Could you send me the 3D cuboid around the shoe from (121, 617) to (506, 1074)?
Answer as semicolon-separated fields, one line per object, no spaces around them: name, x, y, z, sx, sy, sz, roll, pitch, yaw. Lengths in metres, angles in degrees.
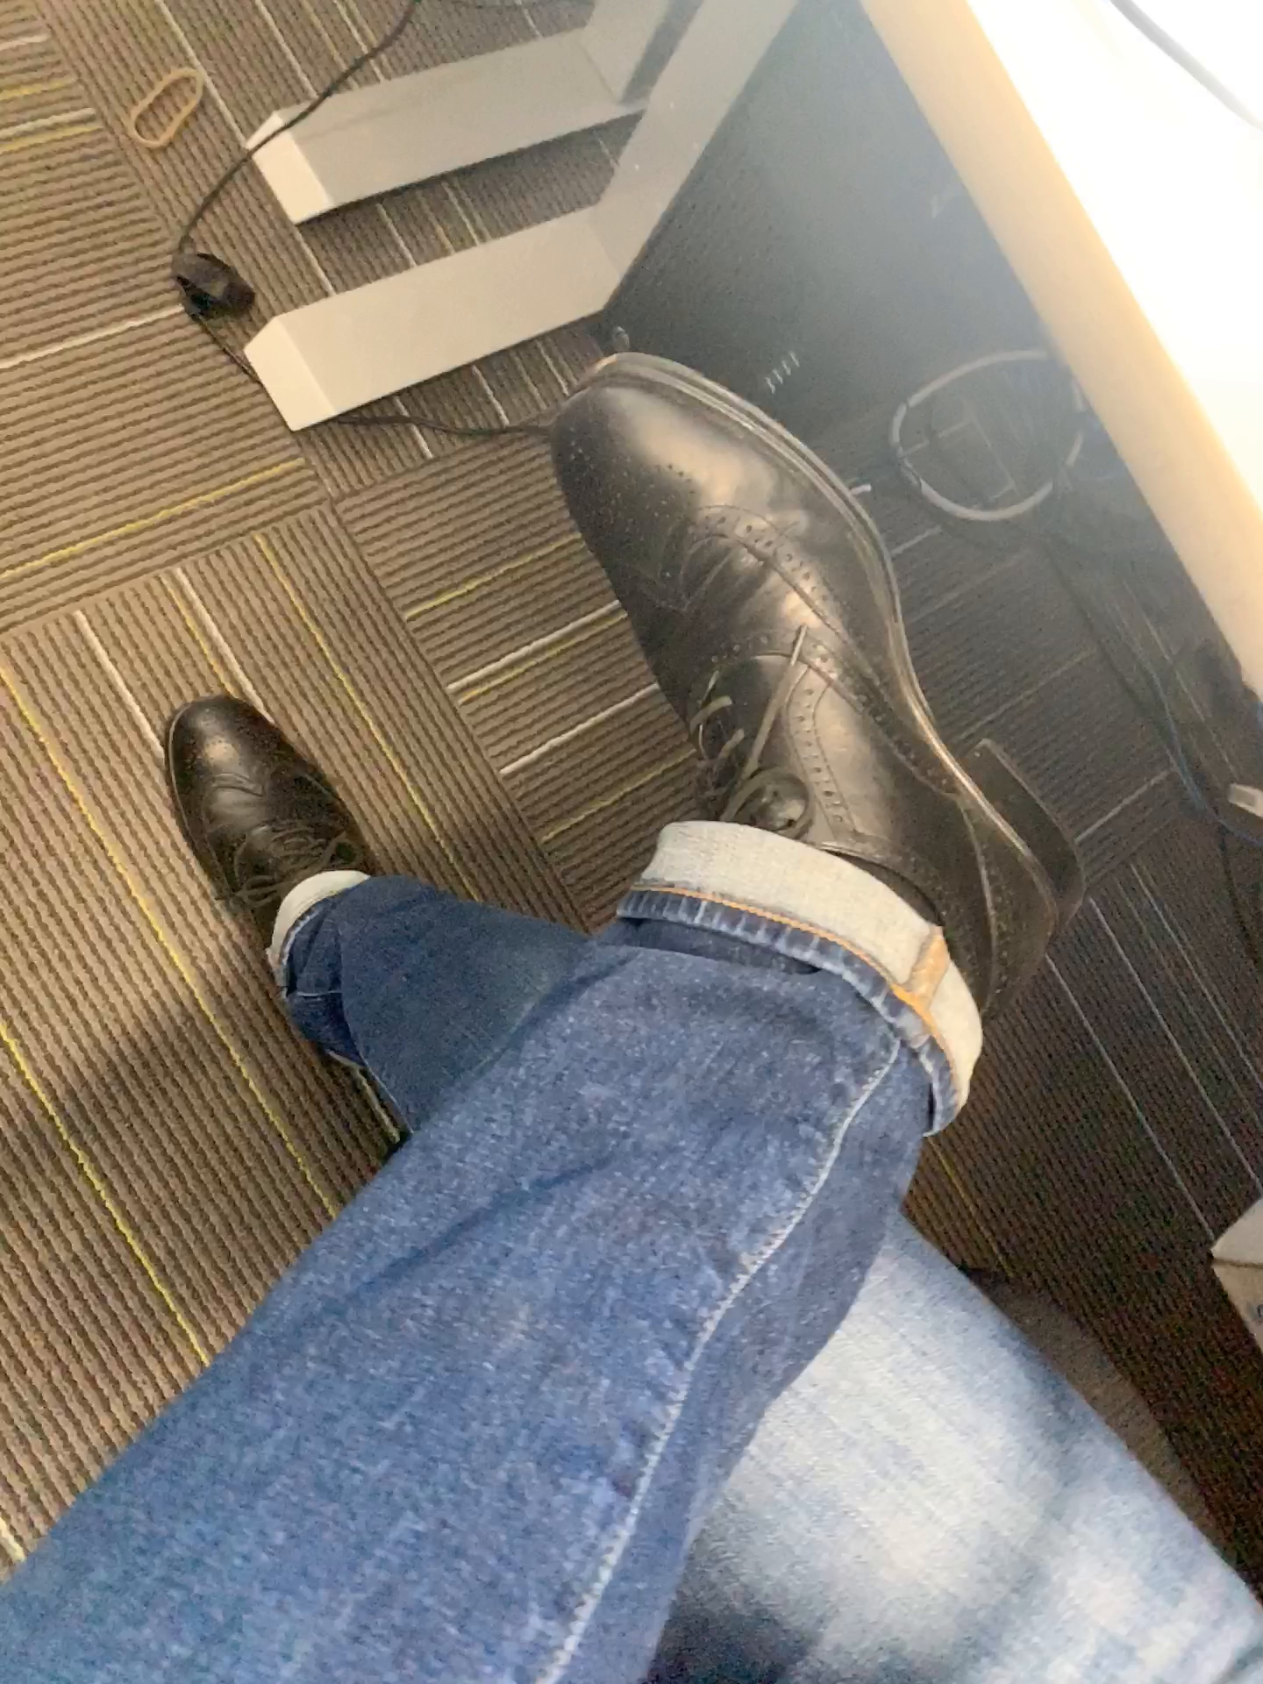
shoe;-0.216;0.008;0.866;0.112;0.104;0.273;-33;92;-25

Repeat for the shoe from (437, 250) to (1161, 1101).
shoe;0.054;-0.050;0.469;0.091;0.111;0.273;-33;93;-28
